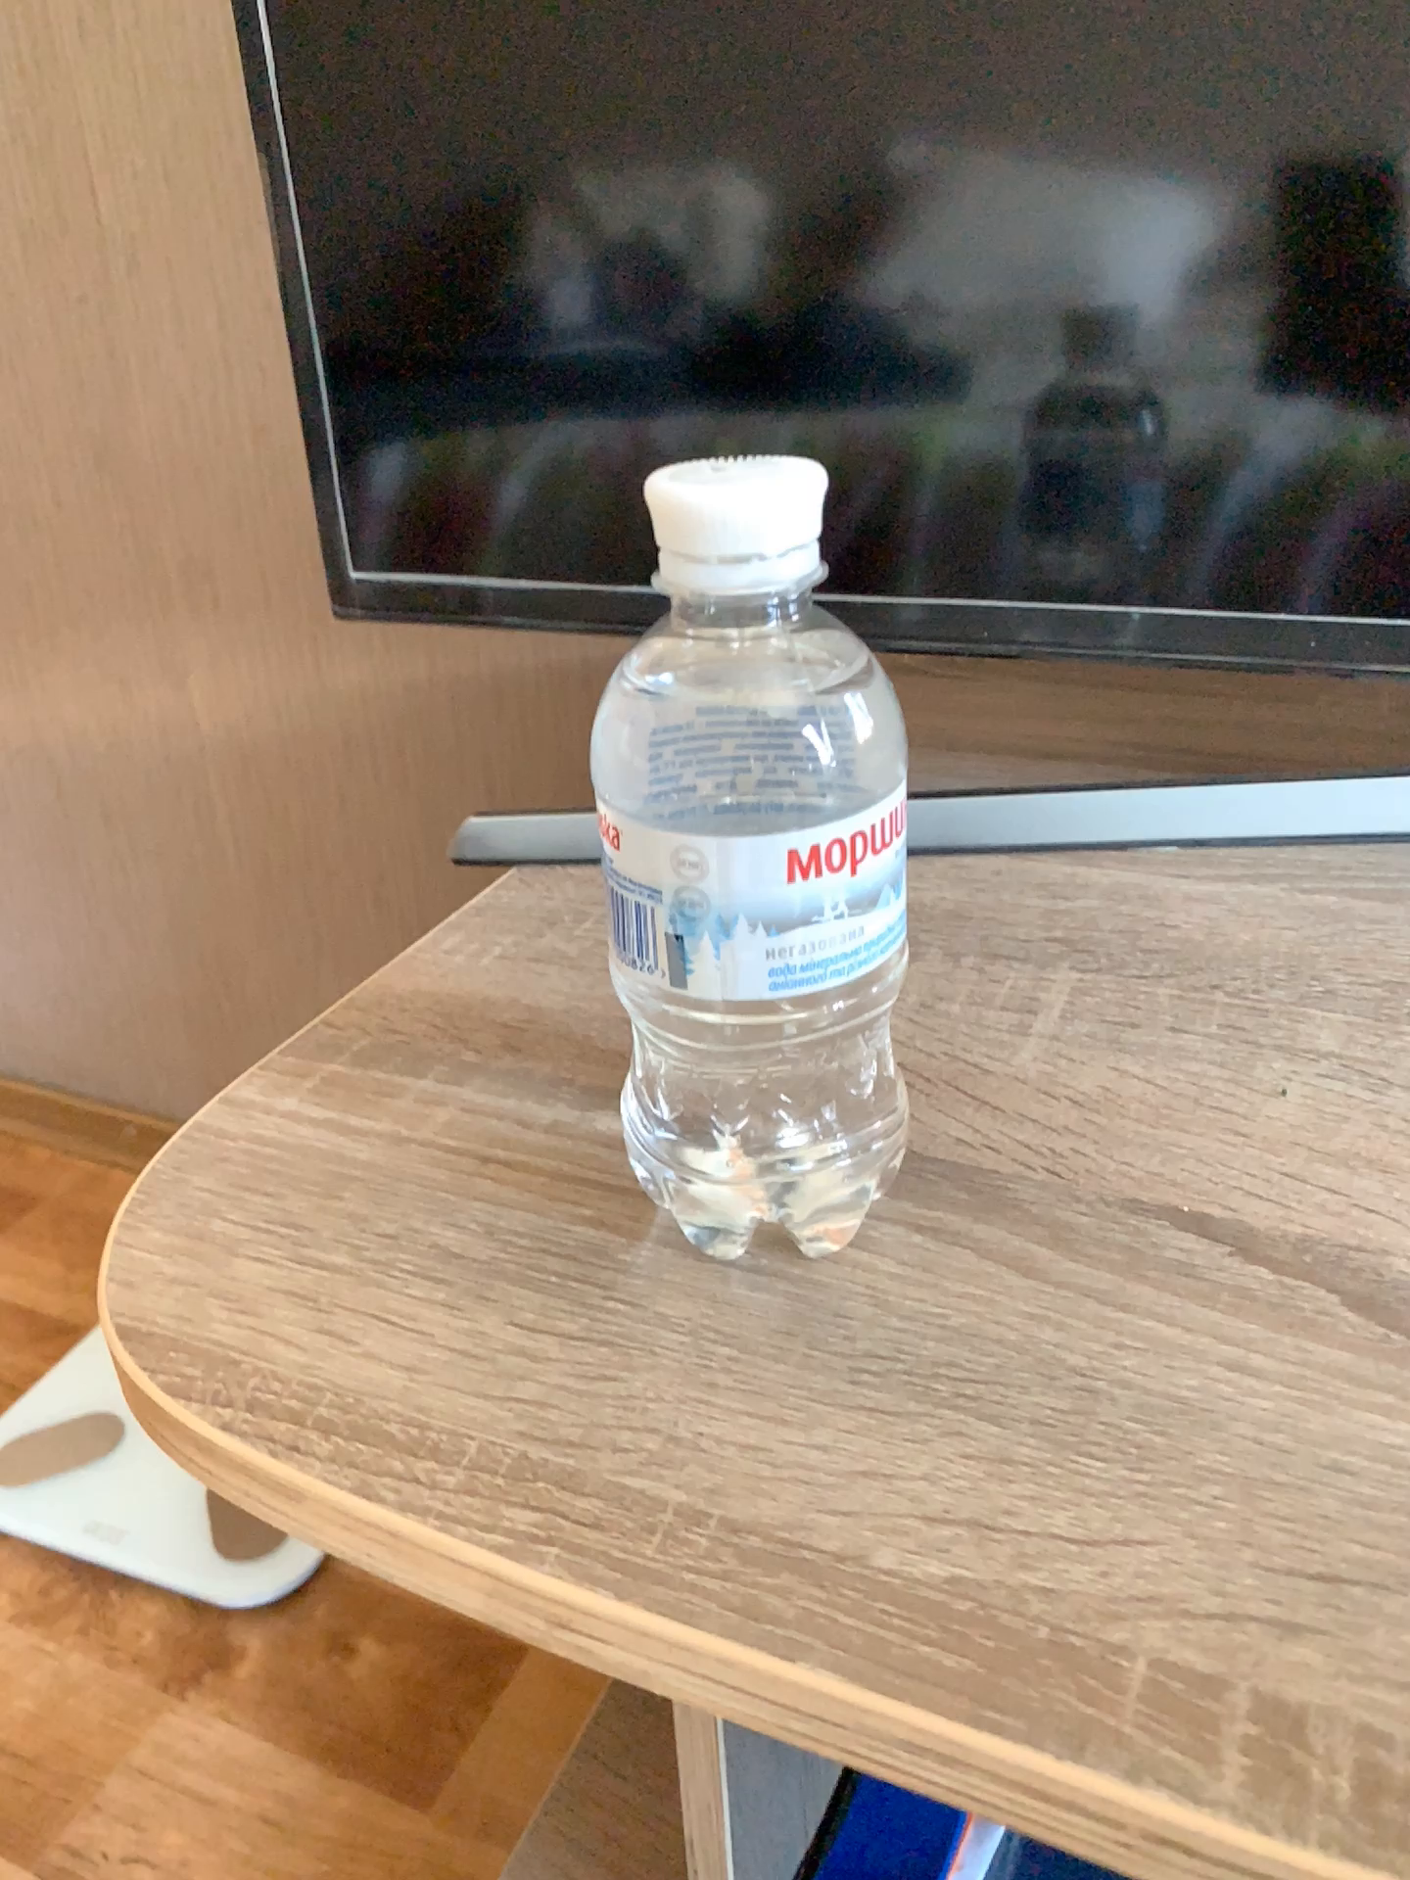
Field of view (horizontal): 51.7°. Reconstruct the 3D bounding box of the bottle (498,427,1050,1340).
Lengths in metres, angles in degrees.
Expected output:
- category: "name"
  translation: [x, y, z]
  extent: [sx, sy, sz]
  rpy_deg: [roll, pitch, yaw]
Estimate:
- category: "bottle"
  translation: [0.017, -0.014, 0.278]
  extent: [0.070, 0.149, 0.070]
  rpy_deg: [-2, 26, 1]
